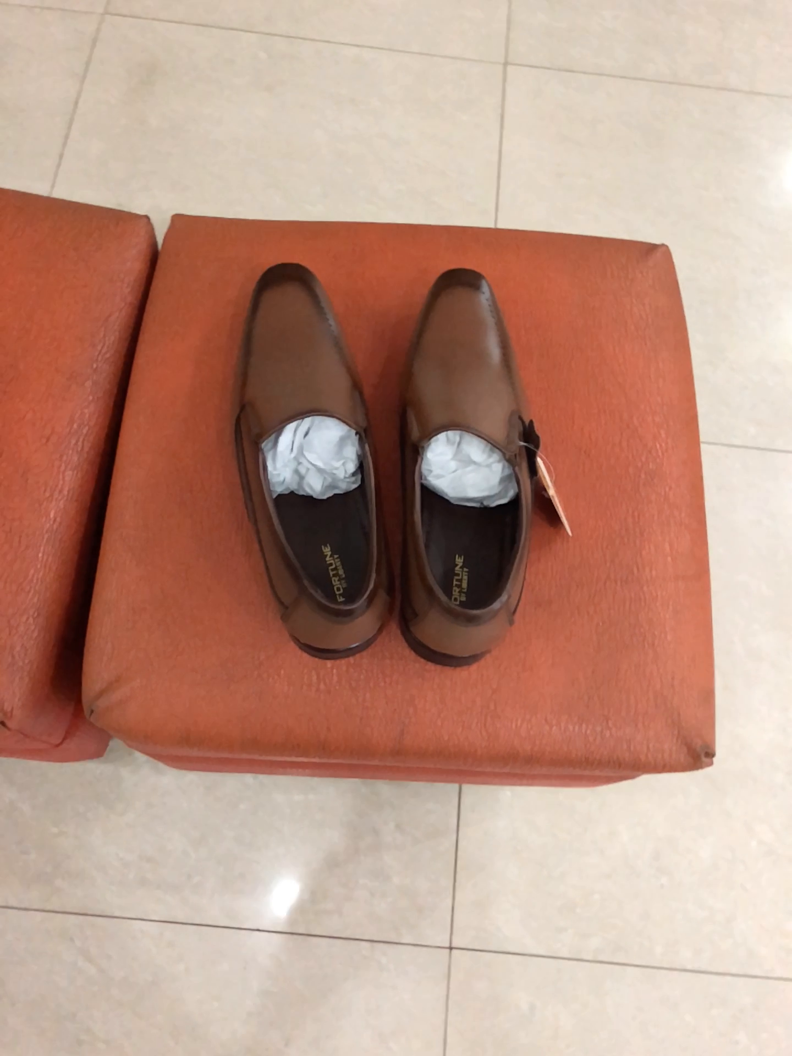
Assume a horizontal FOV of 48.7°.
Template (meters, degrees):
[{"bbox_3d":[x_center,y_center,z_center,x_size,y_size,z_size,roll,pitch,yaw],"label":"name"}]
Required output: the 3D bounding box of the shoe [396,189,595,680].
[{"bbox_3d":[0.054,-0.059,0.577,0.099,0.128,0.293,2,69,-3],"label":"shoe"}]

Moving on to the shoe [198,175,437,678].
[{"bbox_3d":[-0.055,-0.067,0.563,0.101,0.108,0.295,-8,70,-6],"label":"shoe"}]
